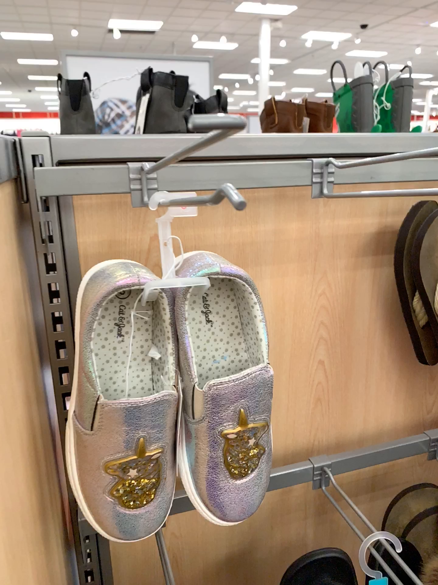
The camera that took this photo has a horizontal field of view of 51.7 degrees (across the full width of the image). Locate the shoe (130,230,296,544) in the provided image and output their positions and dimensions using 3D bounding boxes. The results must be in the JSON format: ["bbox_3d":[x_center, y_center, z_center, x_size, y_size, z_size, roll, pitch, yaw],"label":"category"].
[{"bbox_3d":[-0.007,0.066,0.389,0.100,0.221,0.113,-7,14,-20],"label":"shoe"}]

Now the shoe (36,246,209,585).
[{"bbox_3d":[-0.079,0.083,0.364,0.100,0.221,0.113,-7,14,-20],"label":"shoe"}]
